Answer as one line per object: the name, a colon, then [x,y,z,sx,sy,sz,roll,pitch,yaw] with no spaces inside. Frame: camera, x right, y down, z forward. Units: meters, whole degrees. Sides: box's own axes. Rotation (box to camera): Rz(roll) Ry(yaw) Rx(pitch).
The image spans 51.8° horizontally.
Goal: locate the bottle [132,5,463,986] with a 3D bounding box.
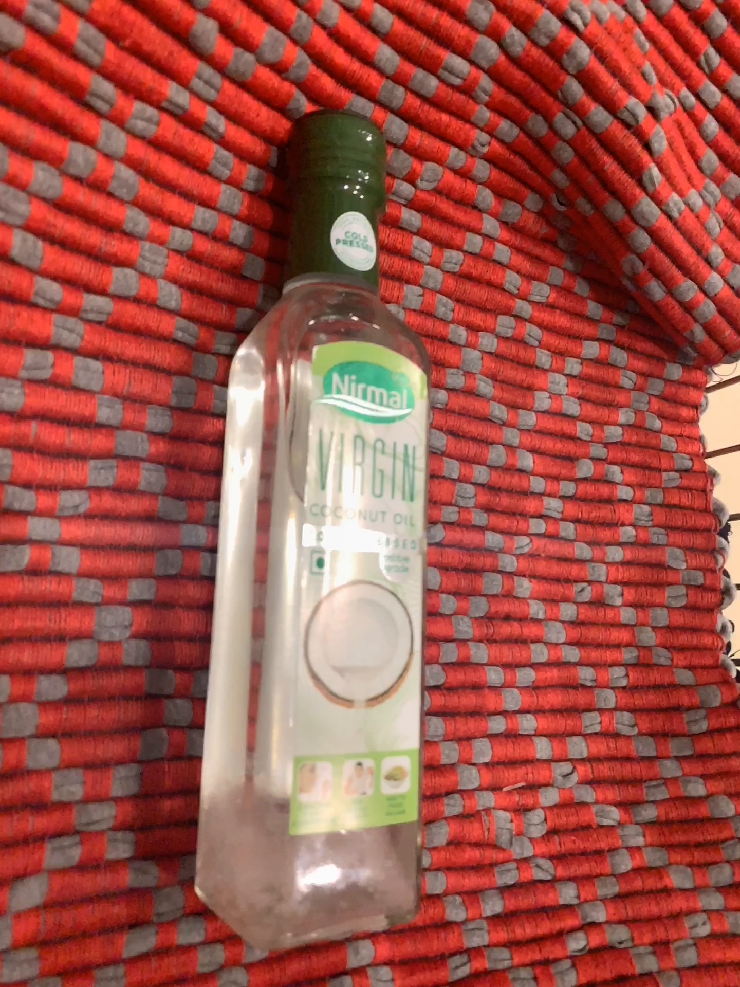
bottle: [-0.019,-0.004,0.207,0.060,0.060,0.220,7,77,-31]
